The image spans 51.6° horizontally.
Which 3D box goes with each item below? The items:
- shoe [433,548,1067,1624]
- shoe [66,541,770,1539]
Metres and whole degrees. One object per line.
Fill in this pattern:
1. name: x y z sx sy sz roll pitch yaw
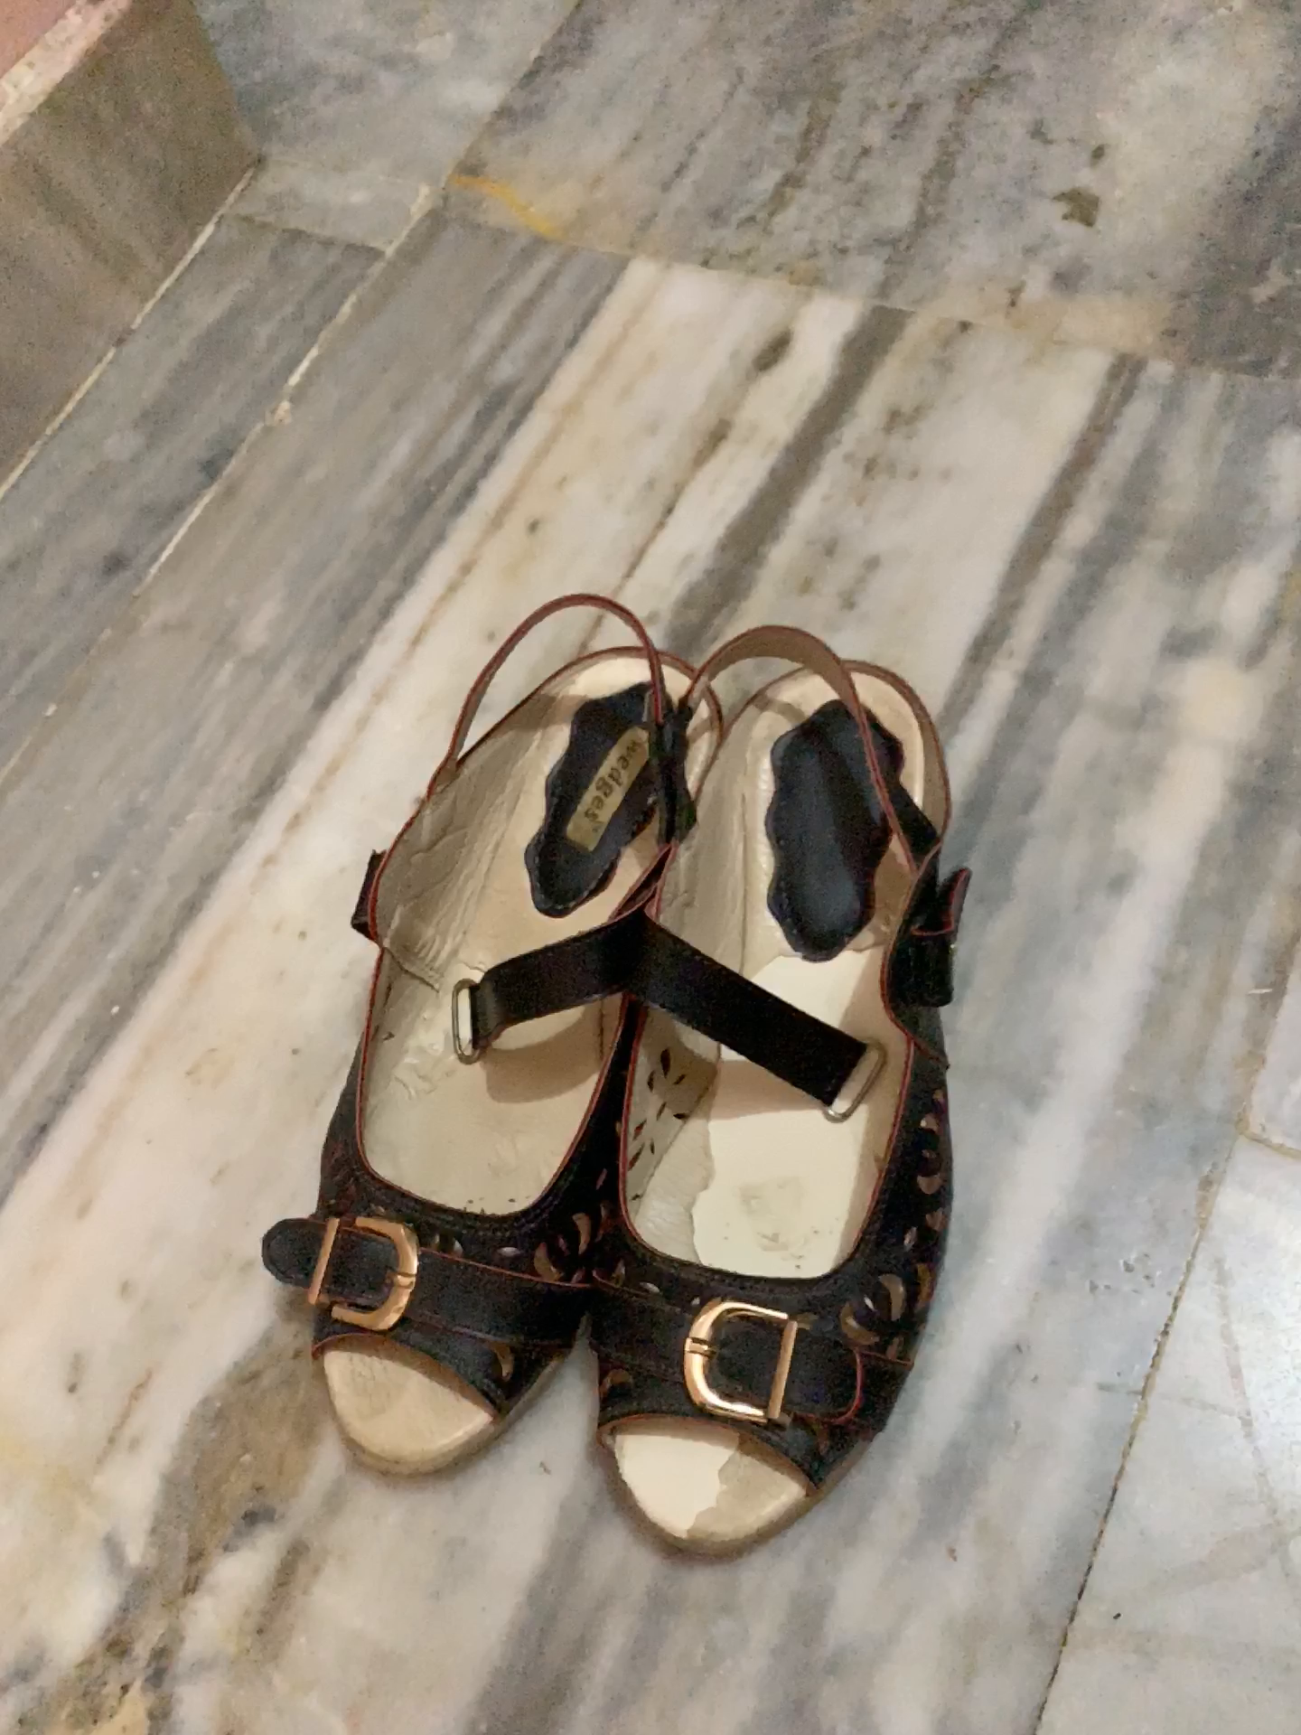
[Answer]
1. shoe: 0.042 0.050 0.375 0.100 0.100 0.260 9 65 16
2. shoe: -0.047 0.043 0.397 0.100 0.100 0.260 9 65 16
